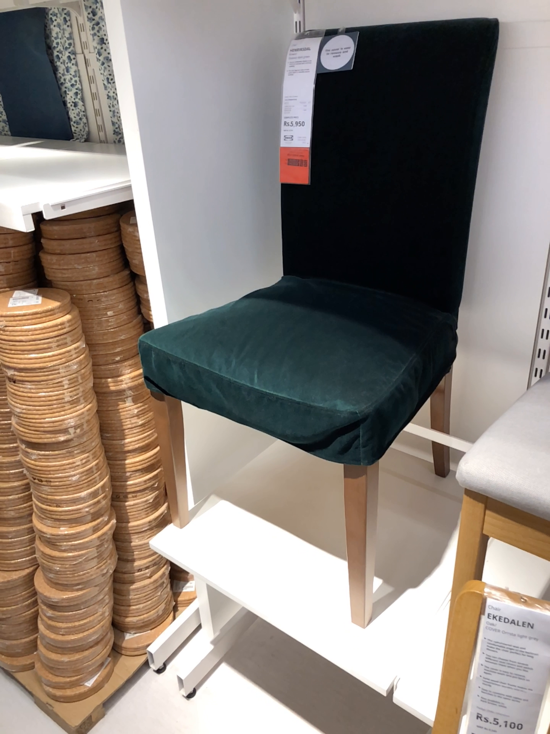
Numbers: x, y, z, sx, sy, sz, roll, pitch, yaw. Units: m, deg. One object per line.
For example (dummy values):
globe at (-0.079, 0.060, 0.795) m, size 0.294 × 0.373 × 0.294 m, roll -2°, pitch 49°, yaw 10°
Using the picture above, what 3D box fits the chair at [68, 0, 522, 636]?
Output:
chair at (0.072, -0.118, 1.108) m, size 0.471 × 0.914 × 0.512 m, roll 16°, pitch 33°, yaw 34°
